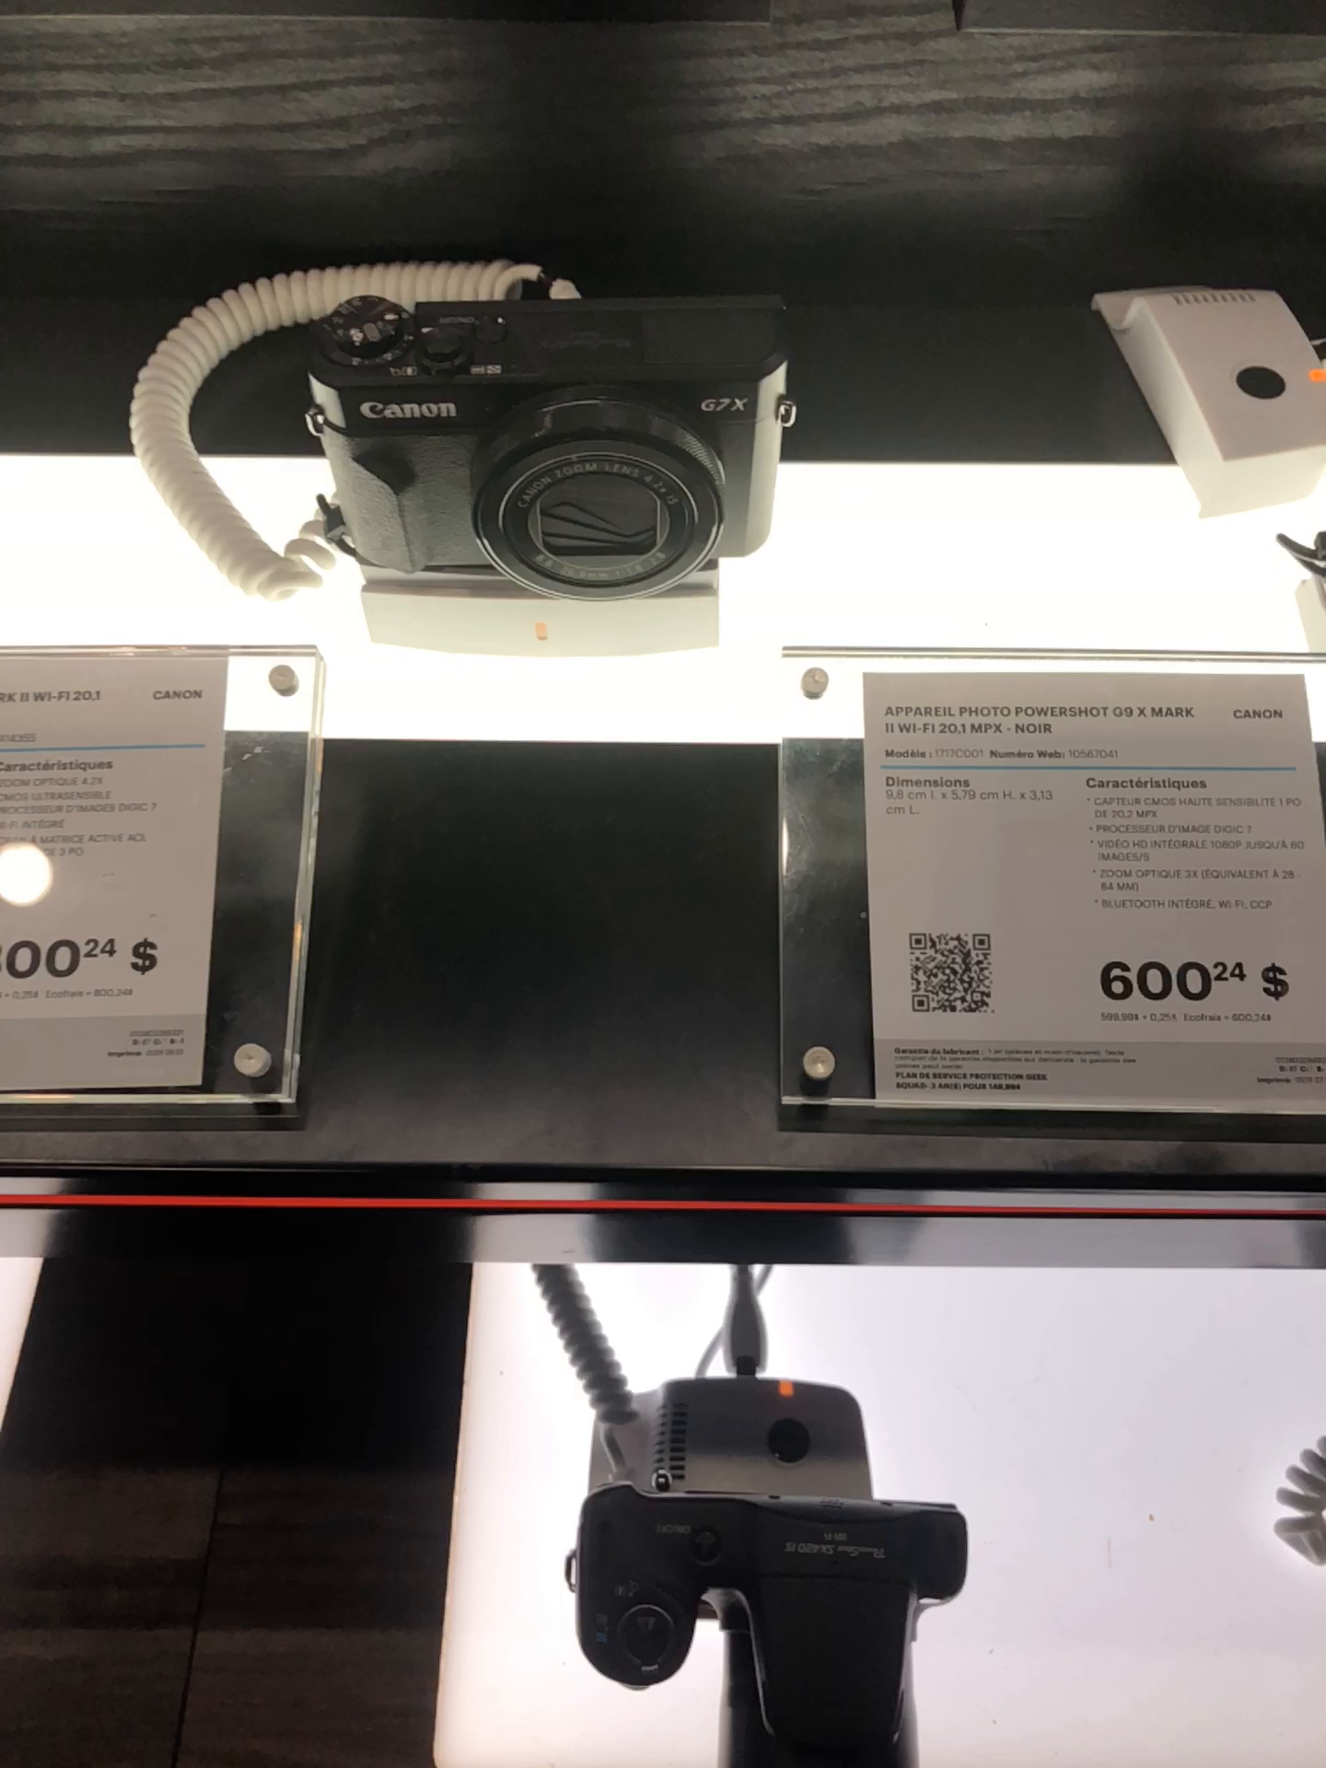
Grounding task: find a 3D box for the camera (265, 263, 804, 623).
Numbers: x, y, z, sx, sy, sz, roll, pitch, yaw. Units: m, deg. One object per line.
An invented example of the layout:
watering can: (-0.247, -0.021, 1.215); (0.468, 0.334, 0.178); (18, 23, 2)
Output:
camera: (-0.027, -0.100, 0.343); (0.110, 0.079, 0.030); (-1, 59, -1)
